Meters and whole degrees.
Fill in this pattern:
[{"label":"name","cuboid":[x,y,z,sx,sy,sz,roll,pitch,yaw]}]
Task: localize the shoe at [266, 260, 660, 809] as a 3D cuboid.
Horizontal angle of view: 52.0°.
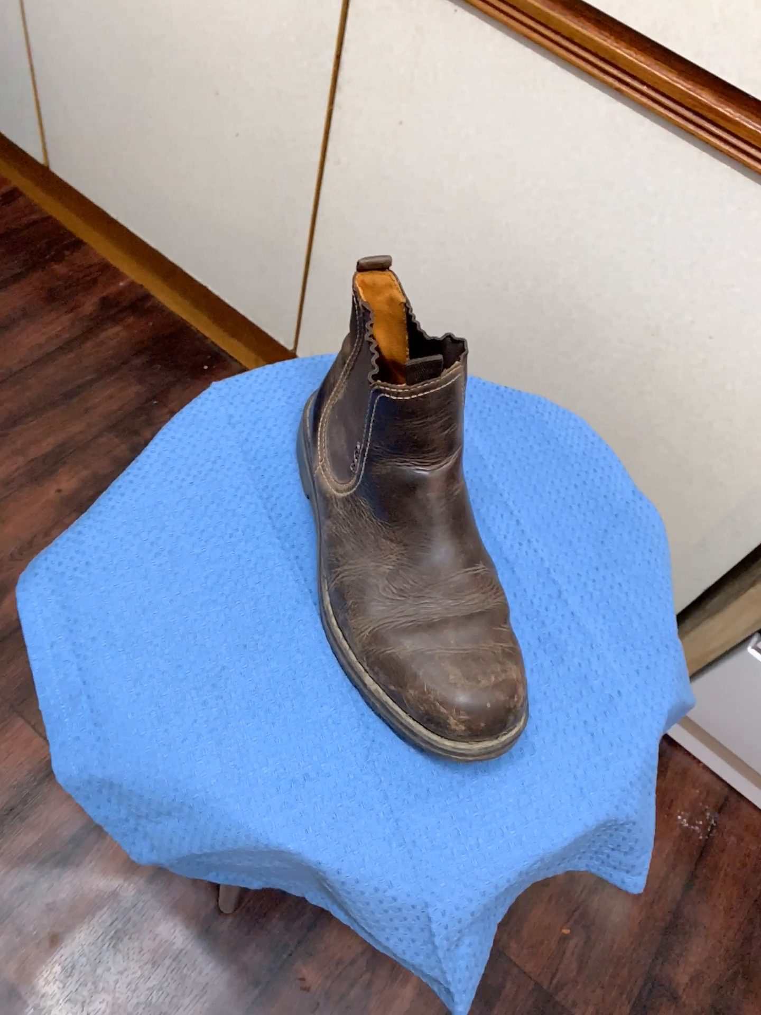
[{"label":"shoe","cuboid":[0.022,0.009,0.474,0.105,0.156,0.280,-10,60,-19]}]
